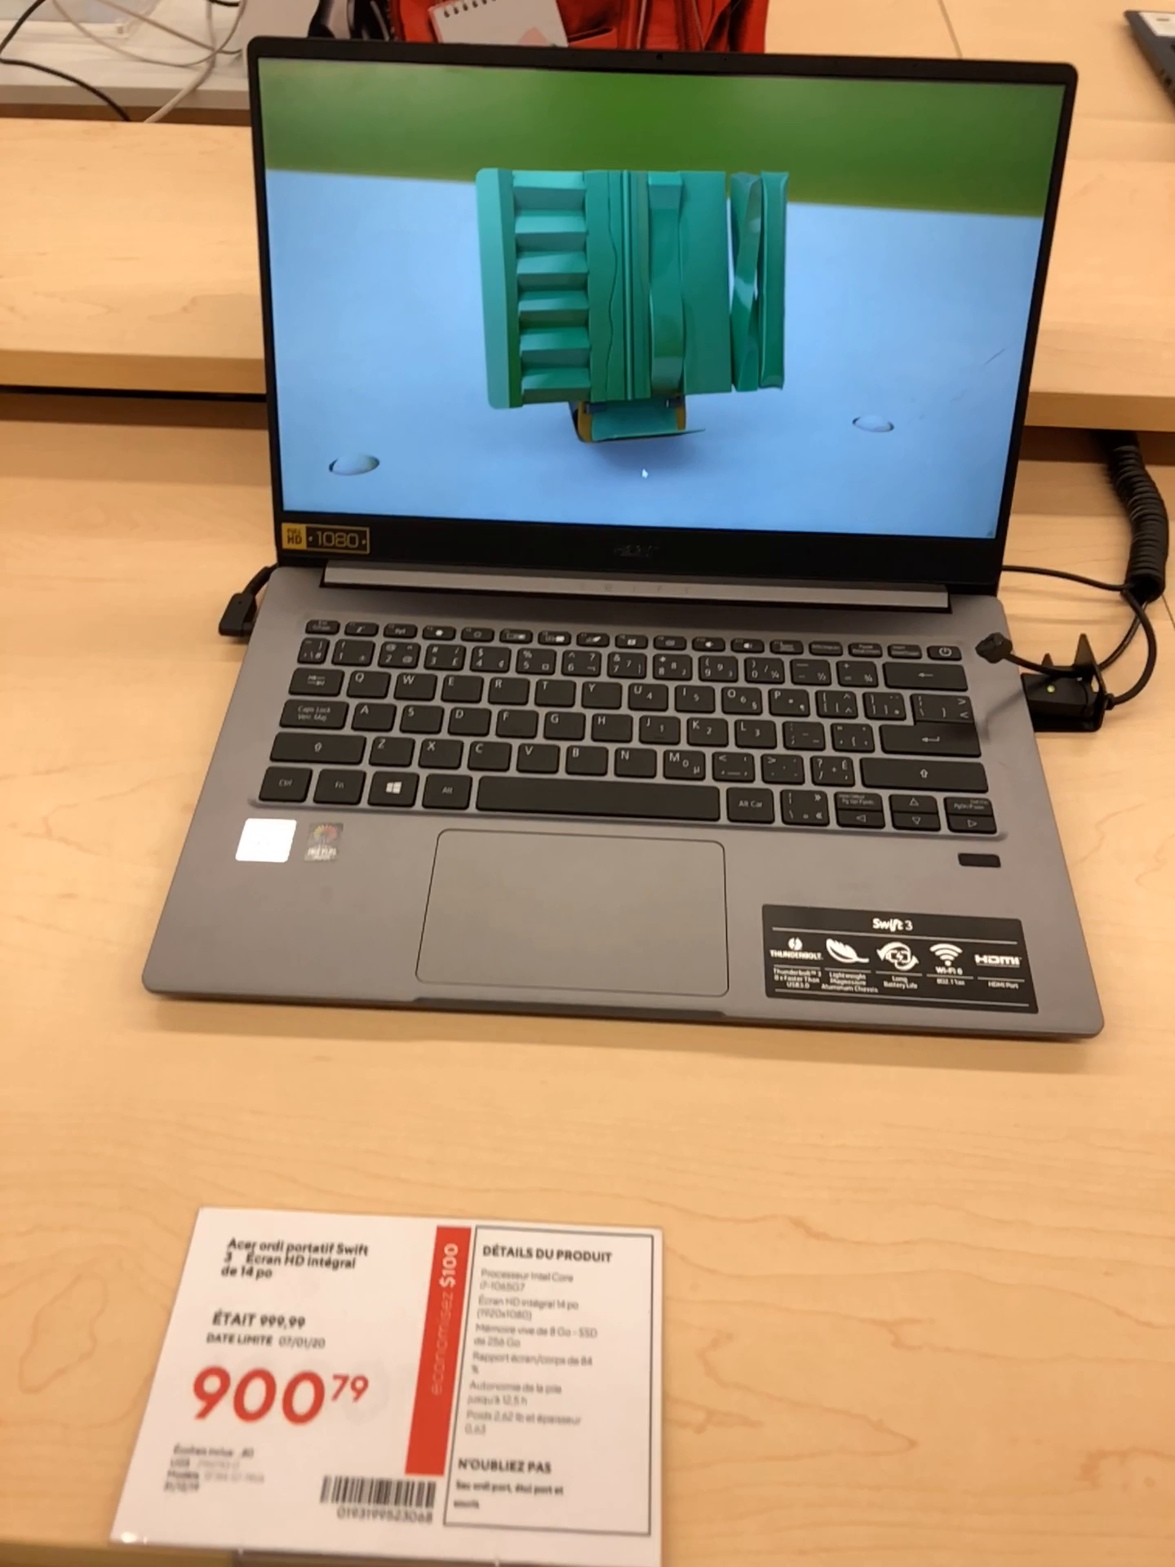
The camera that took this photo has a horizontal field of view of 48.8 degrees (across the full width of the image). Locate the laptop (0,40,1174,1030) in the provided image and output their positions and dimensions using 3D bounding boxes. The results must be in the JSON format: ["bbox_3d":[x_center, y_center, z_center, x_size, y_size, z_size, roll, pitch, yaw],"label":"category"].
[{"bbox_3d":[0.020,-0.102,0.461,0.315,0.178,0.312,3,49,0],"label":"laptop"}]
